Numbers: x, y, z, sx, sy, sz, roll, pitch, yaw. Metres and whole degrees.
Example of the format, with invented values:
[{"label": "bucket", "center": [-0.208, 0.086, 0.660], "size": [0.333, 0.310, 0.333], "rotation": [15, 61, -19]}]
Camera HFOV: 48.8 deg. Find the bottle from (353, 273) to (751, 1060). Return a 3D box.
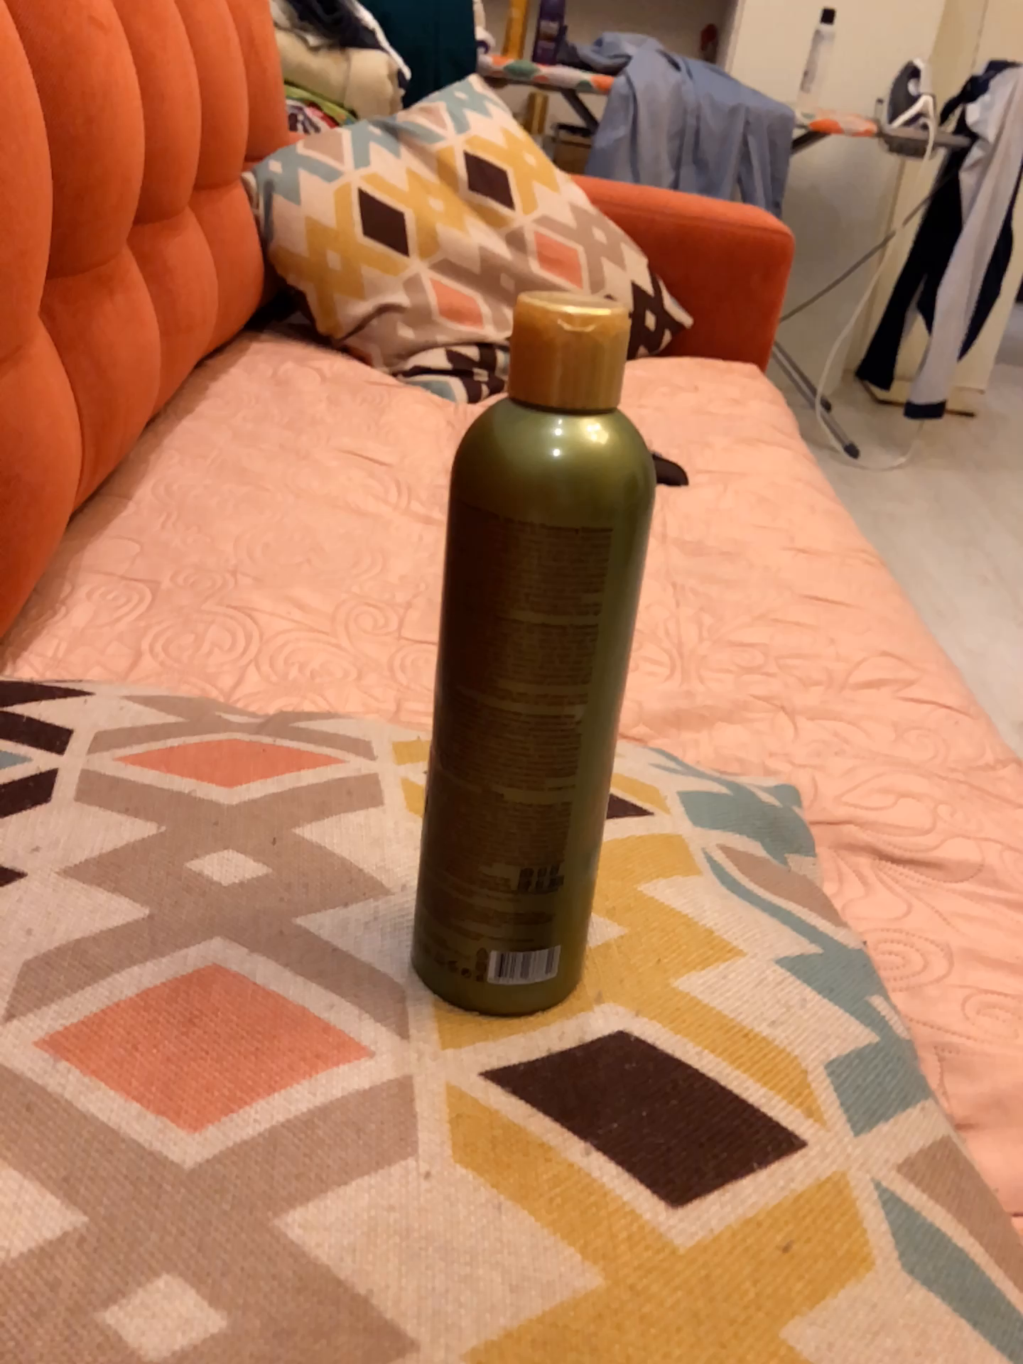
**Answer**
[{"label": "bottle", "center": [0.007, -0.004, 0.289], "size": [0.060, 0.179, 0.070], "rotation": [16, 27, 18]}]
